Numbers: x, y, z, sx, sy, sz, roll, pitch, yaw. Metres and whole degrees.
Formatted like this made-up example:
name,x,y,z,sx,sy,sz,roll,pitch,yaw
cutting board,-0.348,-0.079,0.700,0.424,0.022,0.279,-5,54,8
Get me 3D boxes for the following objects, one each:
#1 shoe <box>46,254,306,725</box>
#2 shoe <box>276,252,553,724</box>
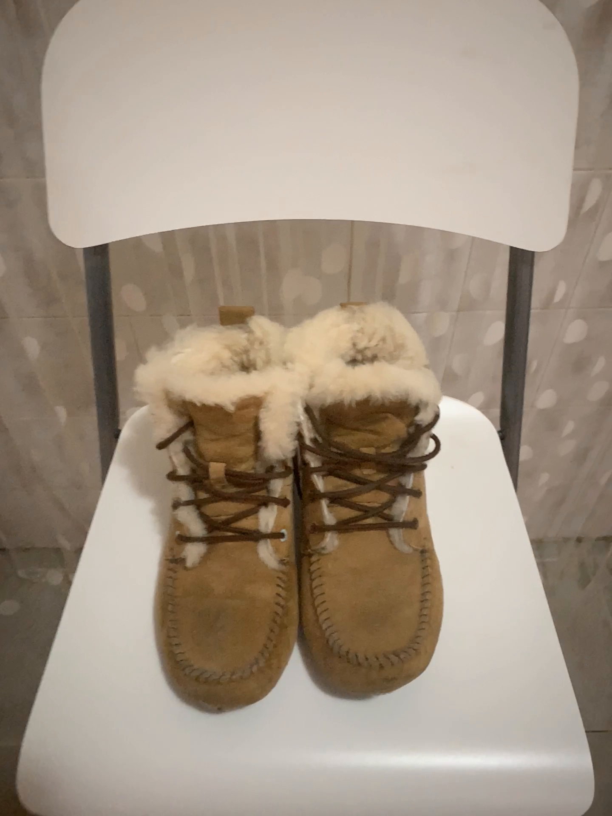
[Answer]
name,x,y,z,sx,sy,sz,roll,pitch,yaw
shoe,-0.058,0.041,0.402,0.106,0.155,0.253,-2,47,-1
shoe,0.042,0.041,0.402,0.113,0.157,0.253,-2,47,-1
